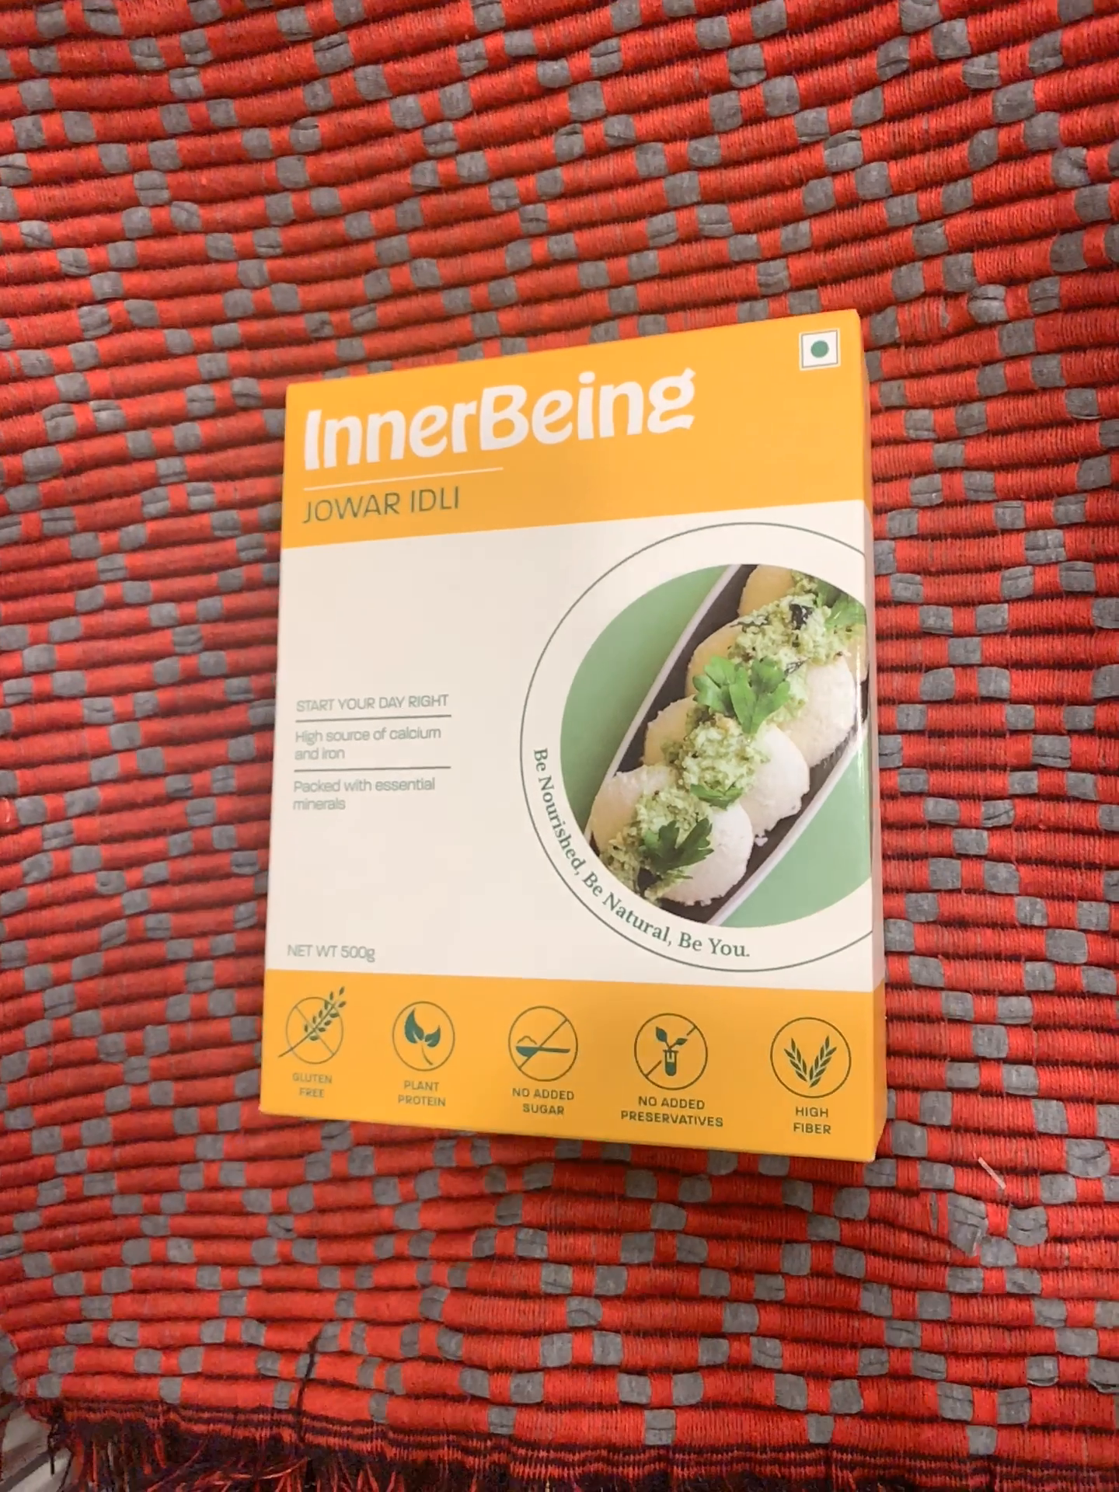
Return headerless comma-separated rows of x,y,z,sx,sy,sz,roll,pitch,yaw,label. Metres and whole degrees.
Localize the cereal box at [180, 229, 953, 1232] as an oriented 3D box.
0.005,-0.001,0.268,0.150,0.070,0.190,-2,79,15,cereal box
